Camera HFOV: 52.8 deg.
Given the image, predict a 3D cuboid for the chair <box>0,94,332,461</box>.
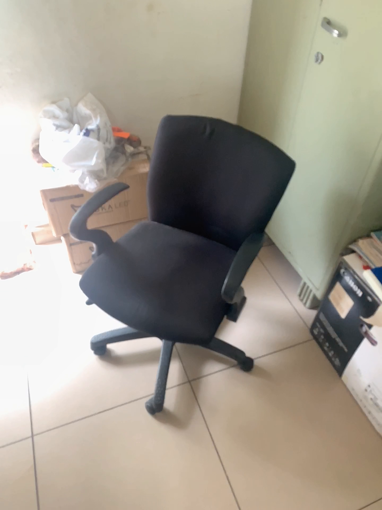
[{"bbox_3d":[-0.039,0.081,1.387,0.701,0.926,0.702,19,47,15],"label":"chair"}]
